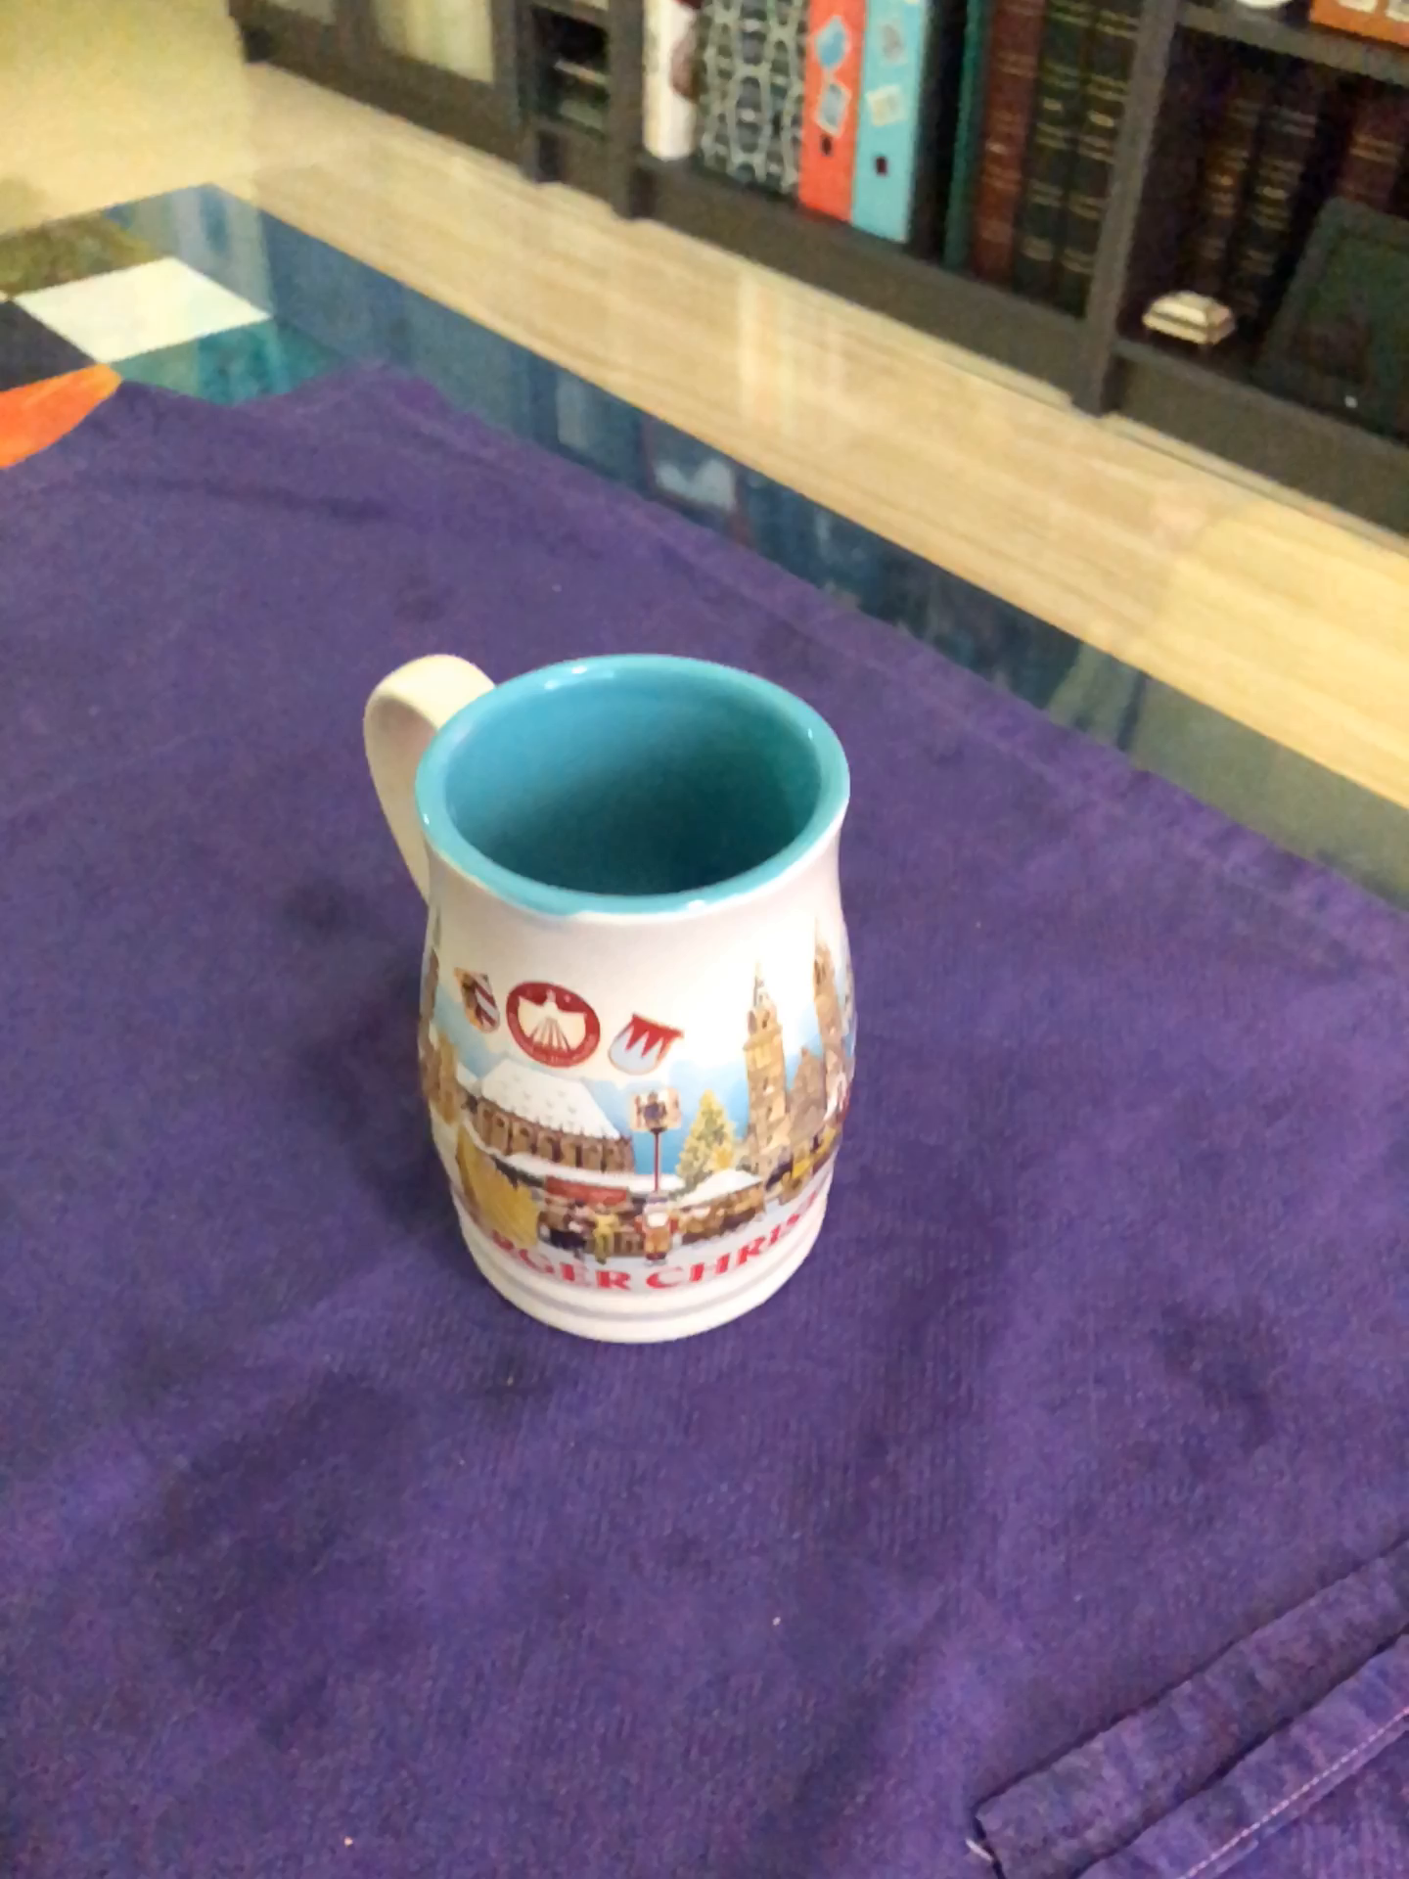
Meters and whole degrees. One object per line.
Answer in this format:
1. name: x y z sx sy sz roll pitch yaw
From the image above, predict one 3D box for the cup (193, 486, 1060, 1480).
1. cup: -0.017 0.003 0.285 0.080 0.109 0.120 -28 50 -28
